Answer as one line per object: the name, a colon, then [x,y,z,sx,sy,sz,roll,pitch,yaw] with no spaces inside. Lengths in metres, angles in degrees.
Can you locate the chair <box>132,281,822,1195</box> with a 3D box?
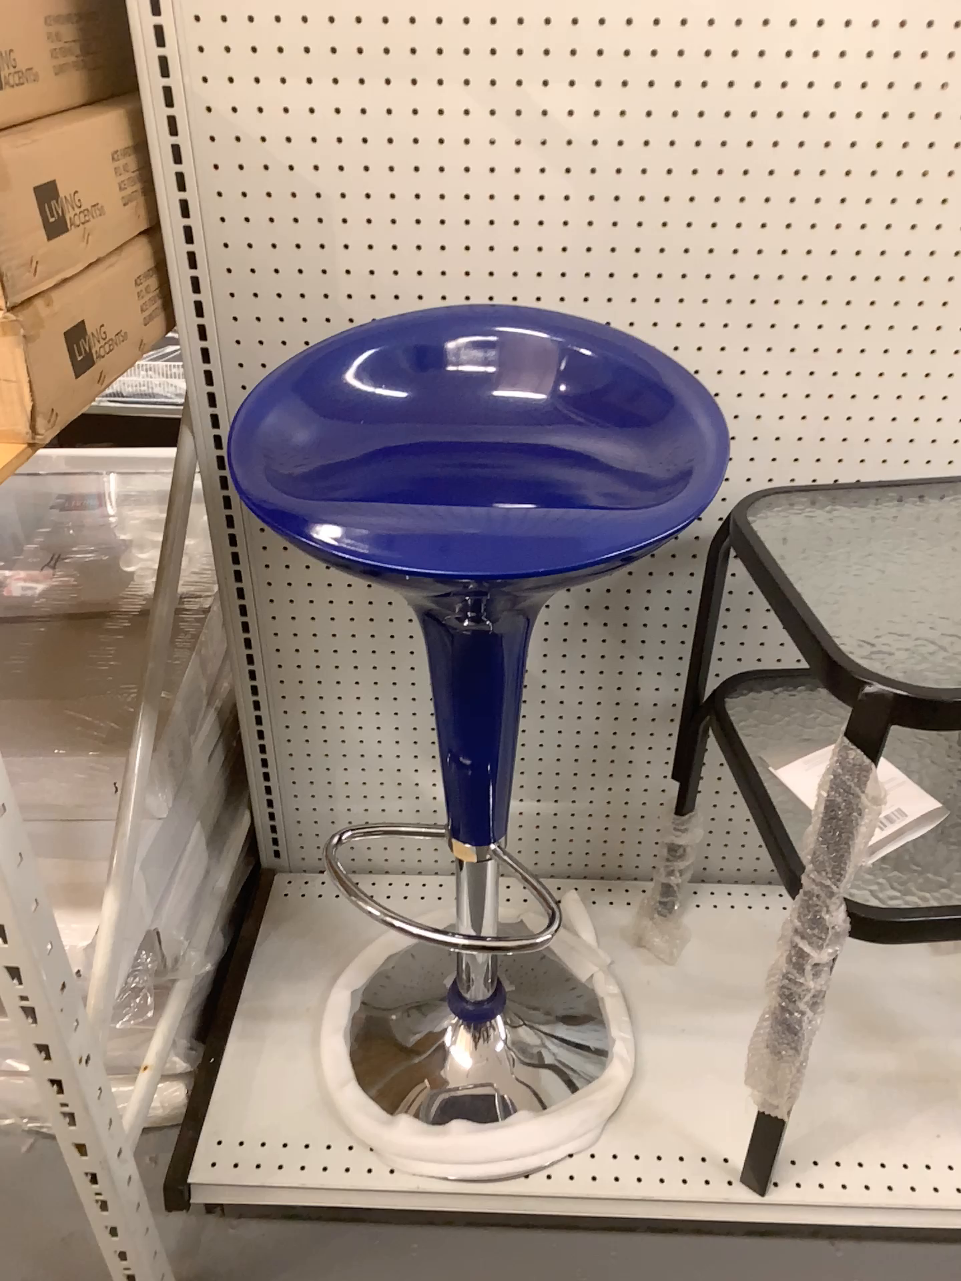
chair: [0.004,0.120,1.016,0.434,0.852,0.419,2,32,2]
